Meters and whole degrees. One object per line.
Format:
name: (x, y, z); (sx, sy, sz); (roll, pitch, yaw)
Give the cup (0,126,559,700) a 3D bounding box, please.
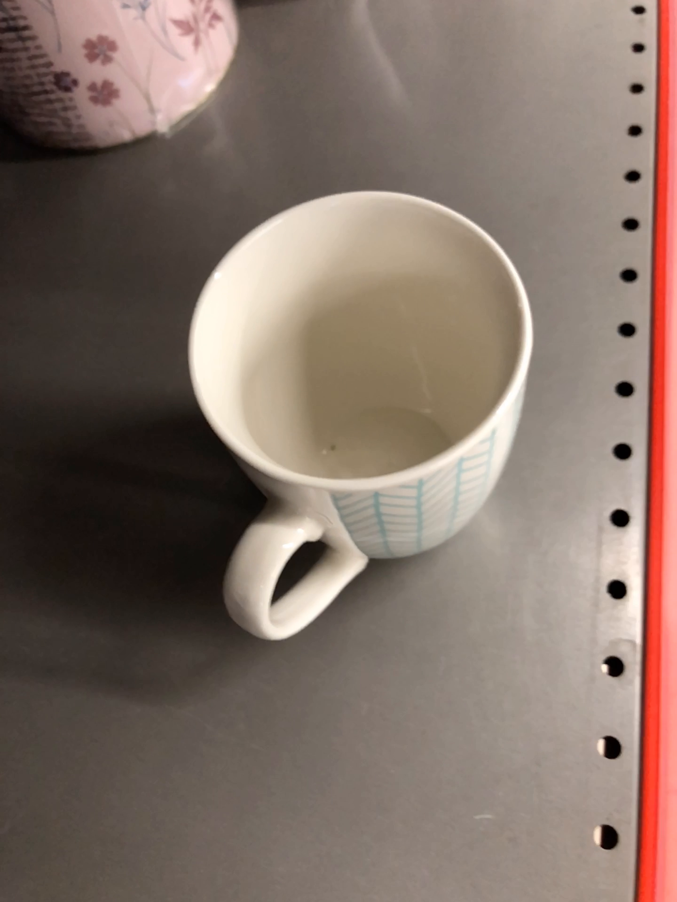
cup: (-0.008, -0.006, 0.231); (0.093, 0.096, 0.119); (25, 73, 17)
